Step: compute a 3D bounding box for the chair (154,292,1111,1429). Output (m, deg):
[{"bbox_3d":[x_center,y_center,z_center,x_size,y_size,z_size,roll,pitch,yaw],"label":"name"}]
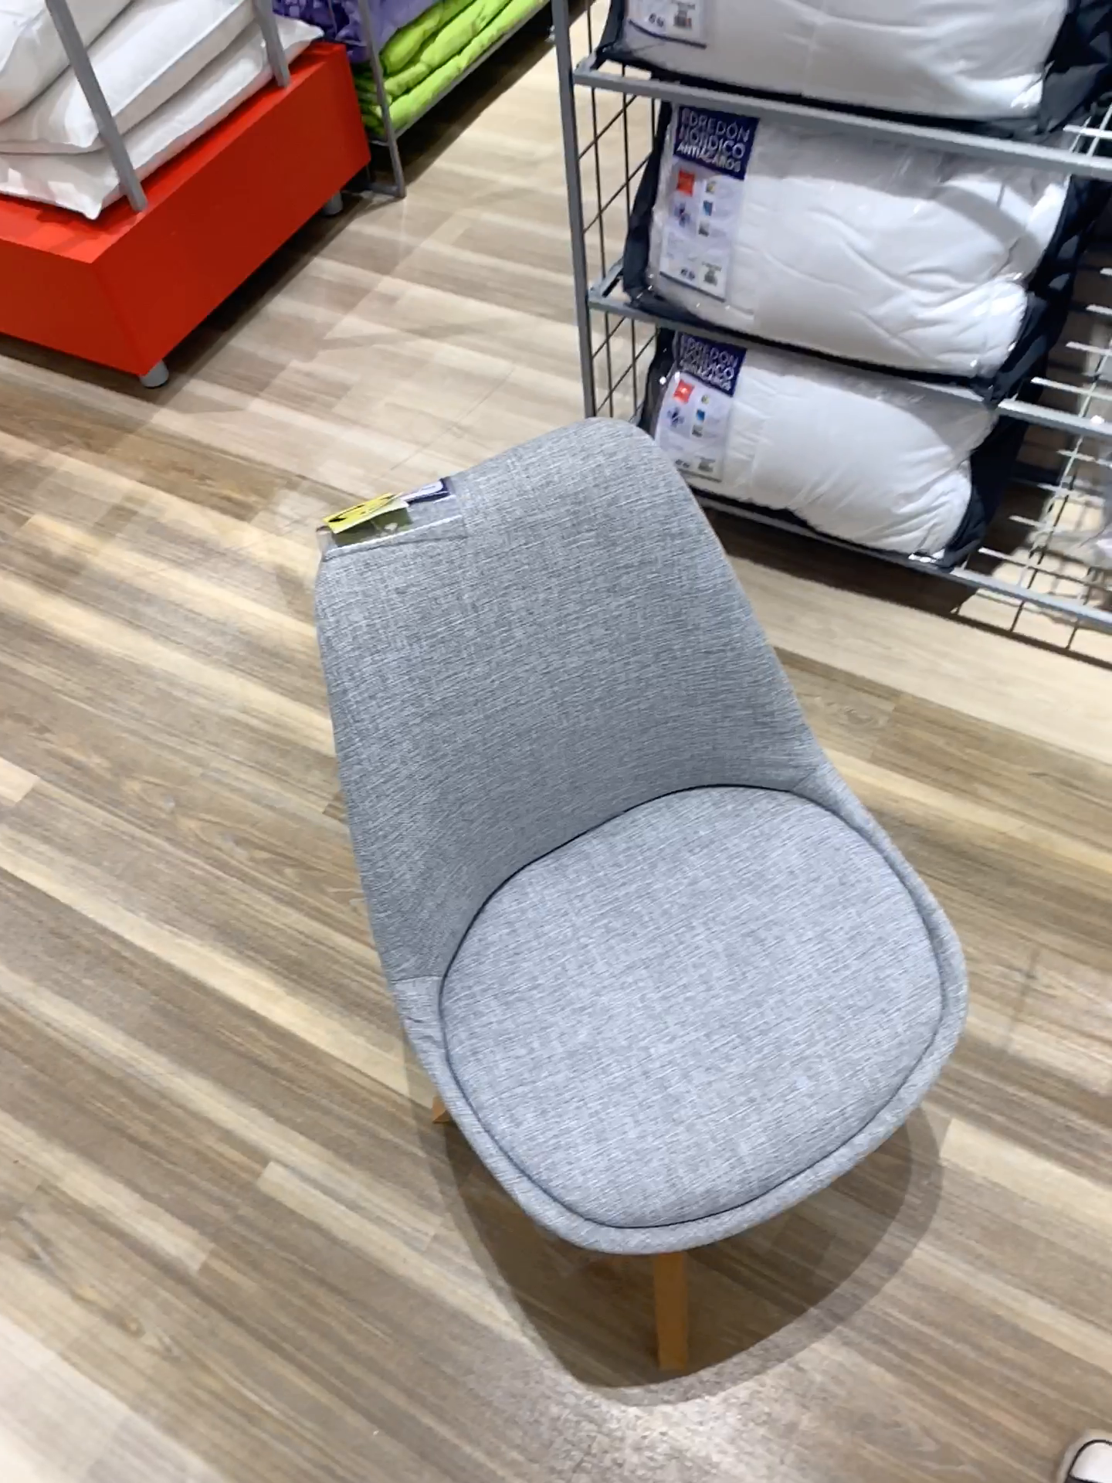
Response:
[{"bbox_3d":[0.115,0.189,1.036,0.513,0.858,0.517,-27,57,-12],"label":"chair"}]
